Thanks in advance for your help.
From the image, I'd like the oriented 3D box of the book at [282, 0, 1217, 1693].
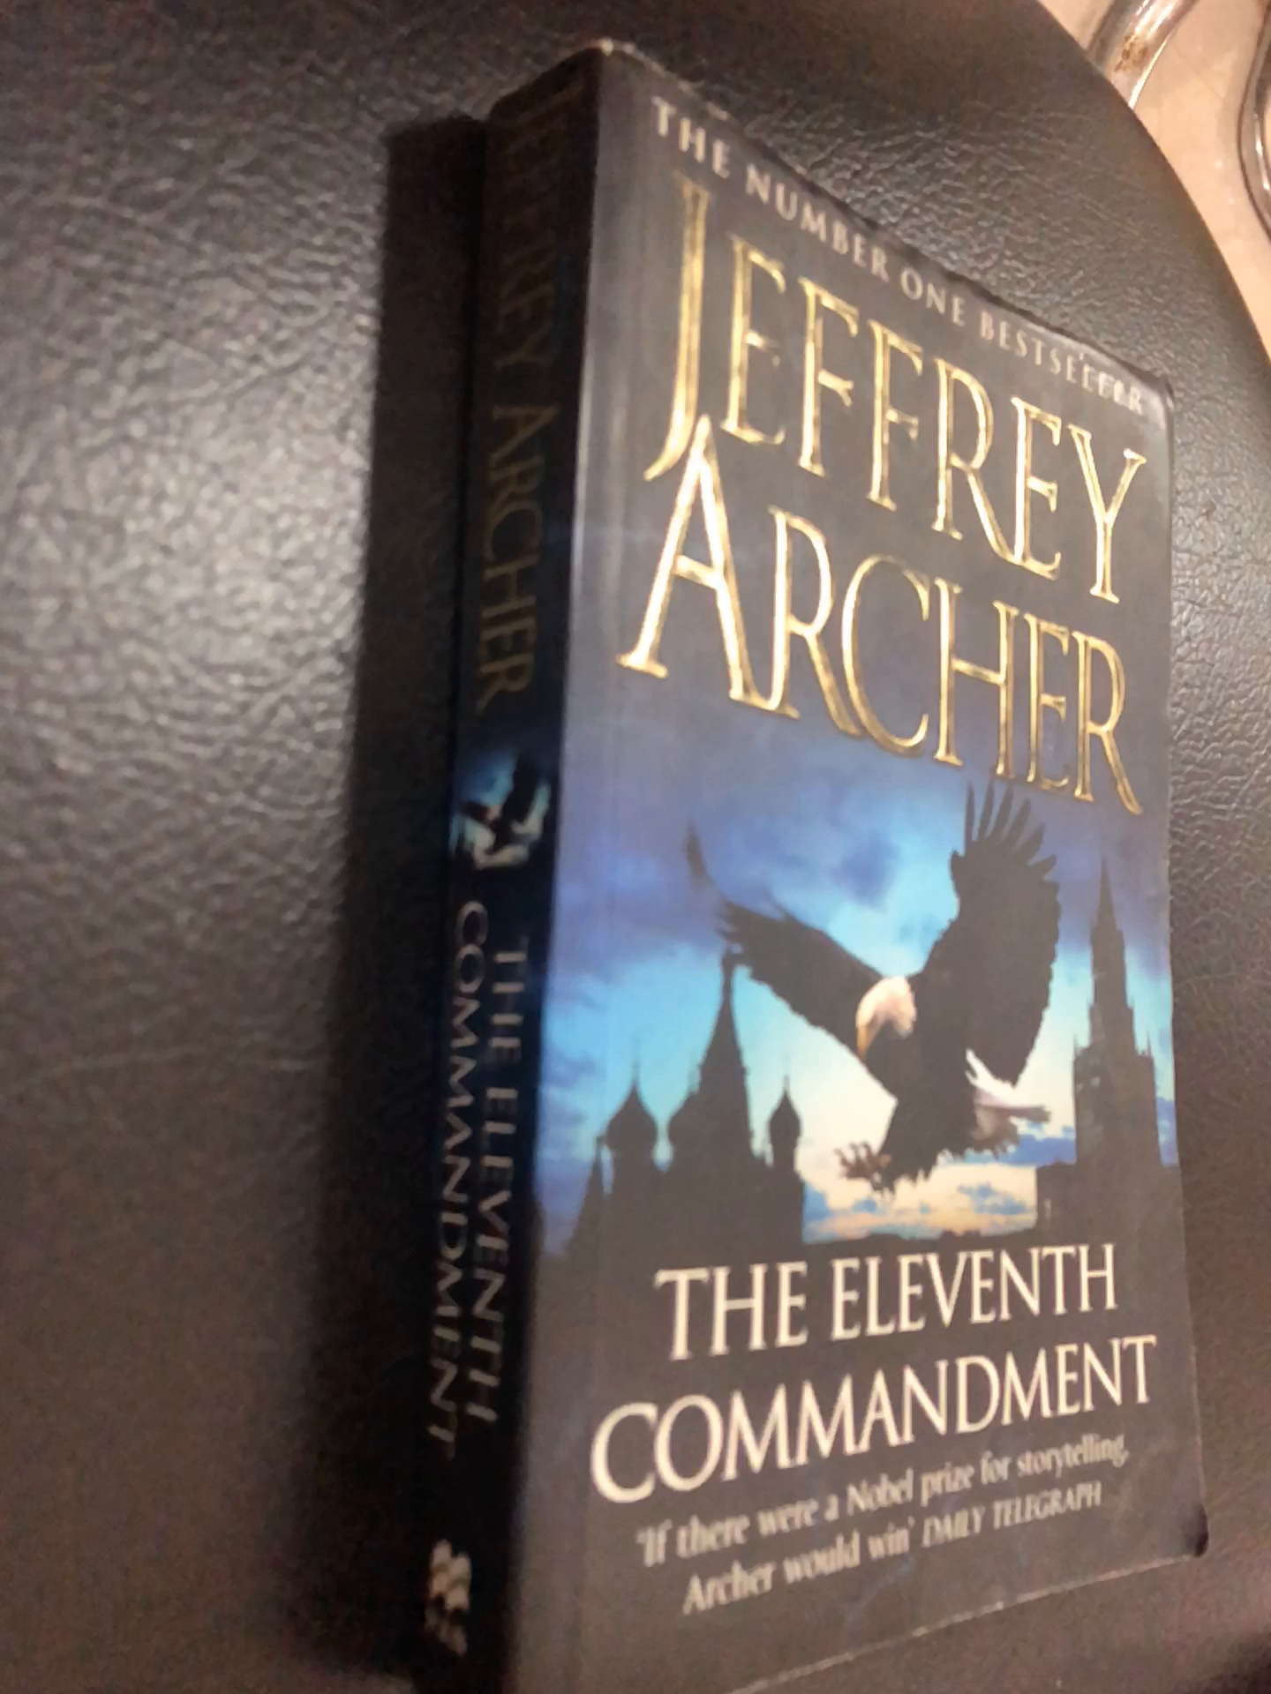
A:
[{"bbox_3d":[0.030,-0.004,0.195,0.131,0.040,0.200,12,78,-41],"label":"book"}]
